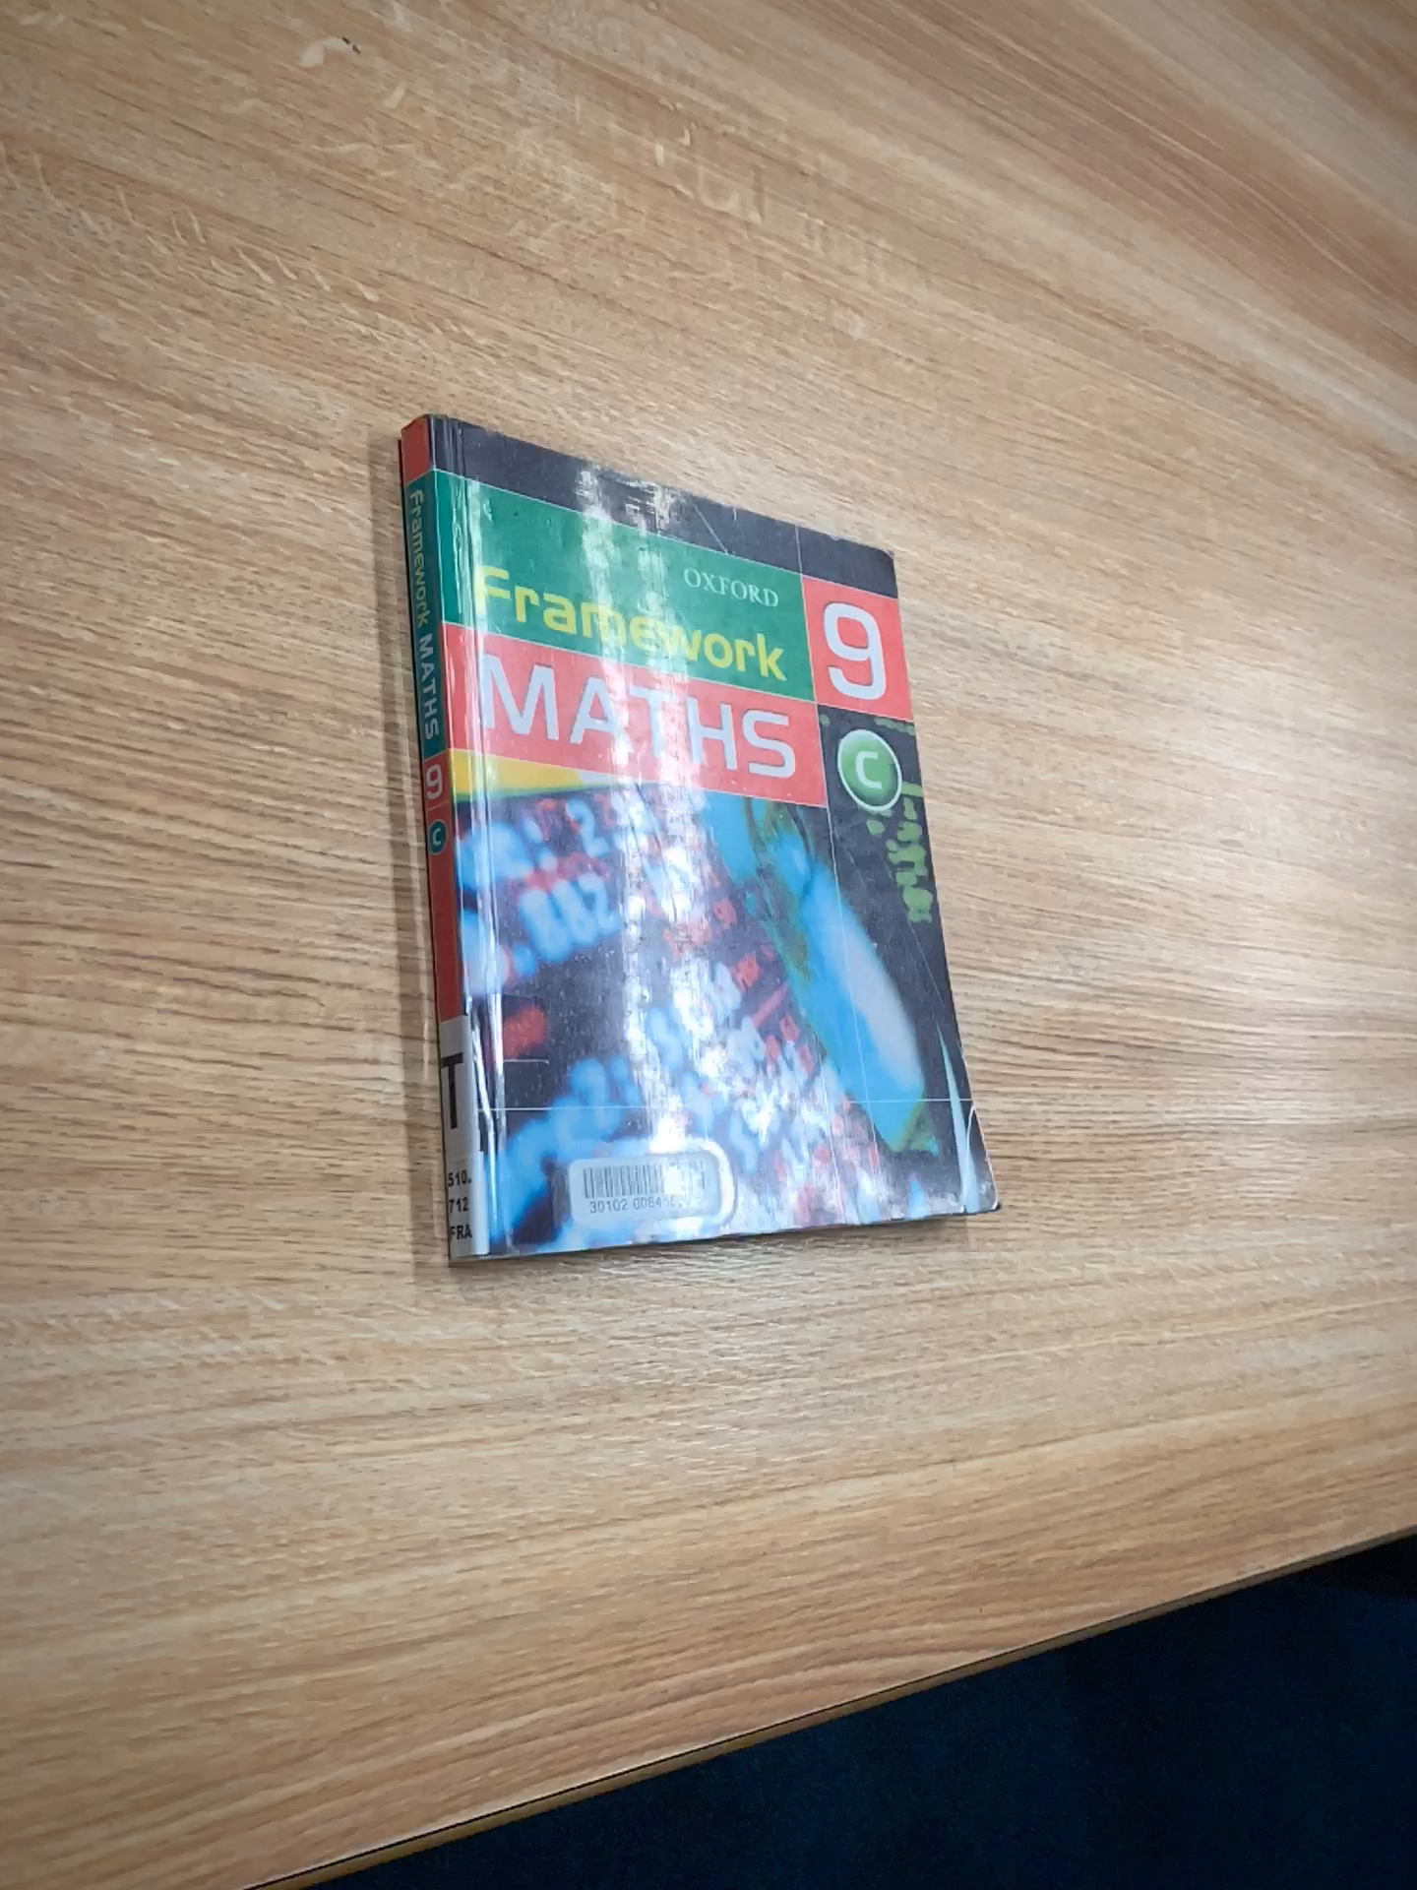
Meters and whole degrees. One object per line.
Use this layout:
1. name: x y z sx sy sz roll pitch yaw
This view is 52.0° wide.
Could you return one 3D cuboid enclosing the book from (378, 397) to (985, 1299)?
1. book: -0.002 -0.027 0.446 0.191 0.020 0.244 3 76 -39
